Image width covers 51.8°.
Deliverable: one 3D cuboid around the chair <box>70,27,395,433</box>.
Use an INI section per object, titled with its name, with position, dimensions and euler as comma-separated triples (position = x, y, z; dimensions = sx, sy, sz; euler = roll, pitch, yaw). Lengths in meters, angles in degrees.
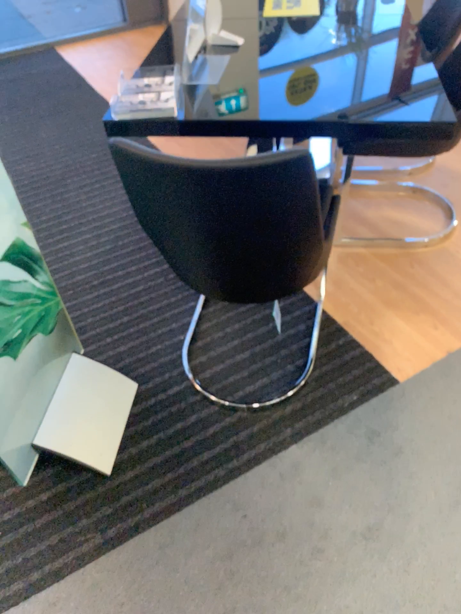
[chair]
position = 0.078, -0.195, 1.266
dimensions = 0.530, 0.812, 0.614
euler = 9, 47, 13
